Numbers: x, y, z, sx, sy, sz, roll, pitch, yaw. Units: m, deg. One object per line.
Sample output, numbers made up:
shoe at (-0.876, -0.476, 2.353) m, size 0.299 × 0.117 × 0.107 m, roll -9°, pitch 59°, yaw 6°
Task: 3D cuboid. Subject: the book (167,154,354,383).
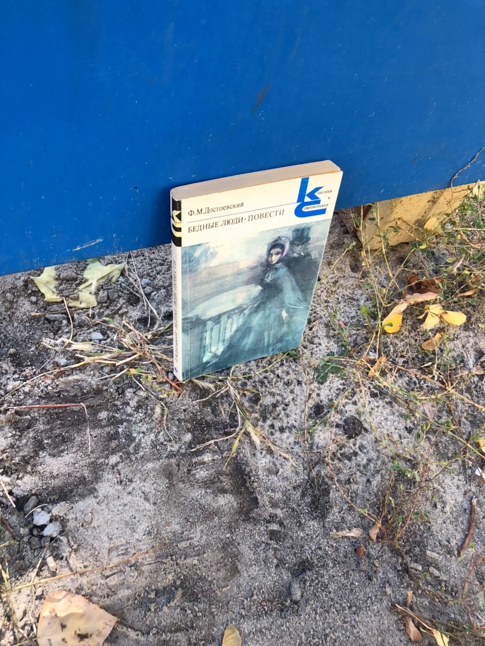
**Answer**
book at (0.006, -0.035, 0.428) m, size 0.127 × 0.187 × 0.026 m, roll -15°, pitch 51°, yaw -19°
